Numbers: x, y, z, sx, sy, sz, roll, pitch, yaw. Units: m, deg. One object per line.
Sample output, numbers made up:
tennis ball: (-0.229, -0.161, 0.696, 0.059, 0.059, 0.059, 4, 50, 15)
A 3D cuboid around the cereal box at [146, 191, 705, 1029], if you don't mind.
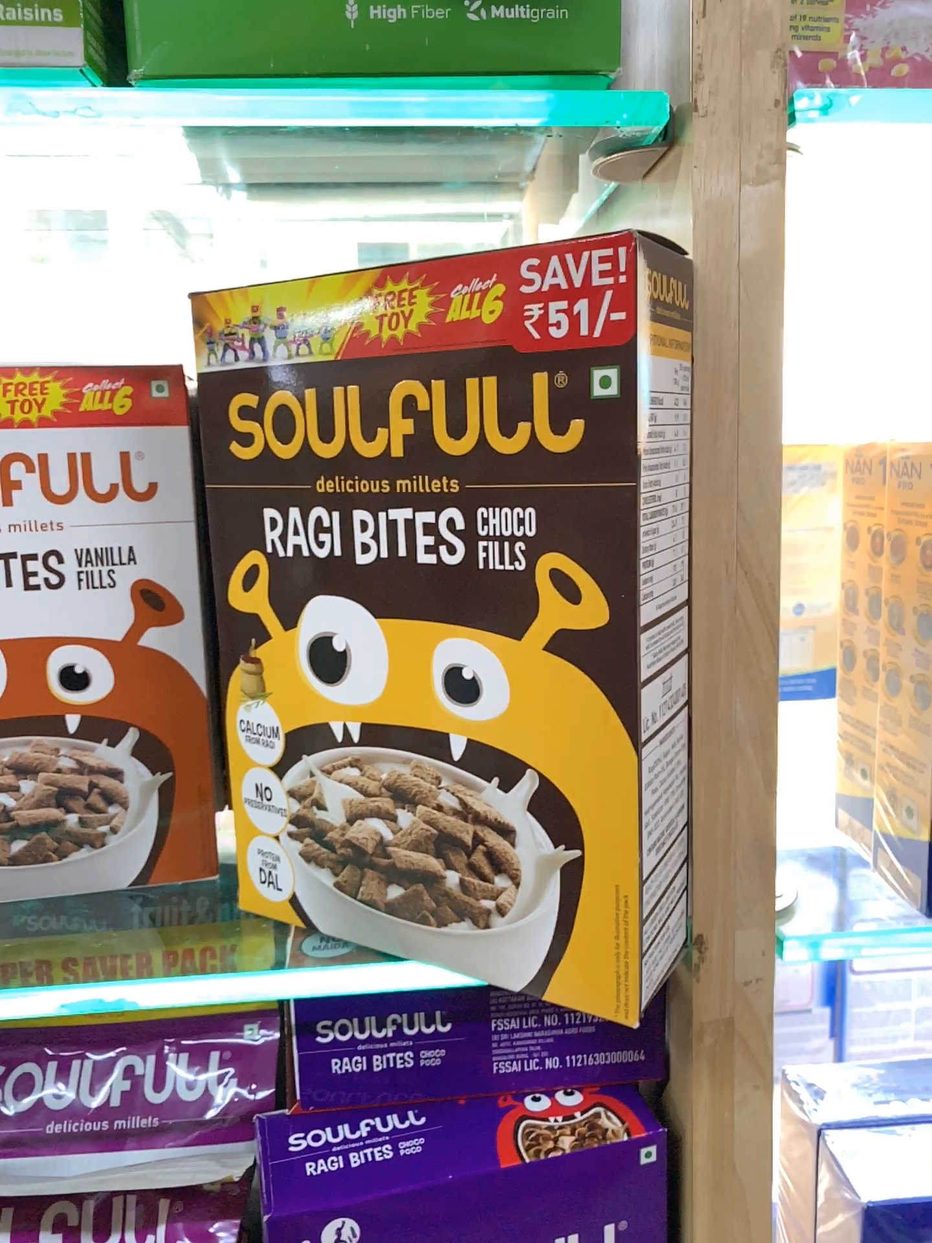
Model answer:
cereal box: (-0.017, -0.007, 0.349, 0.190, 0.239, 0.060, 4, 11, 32)
